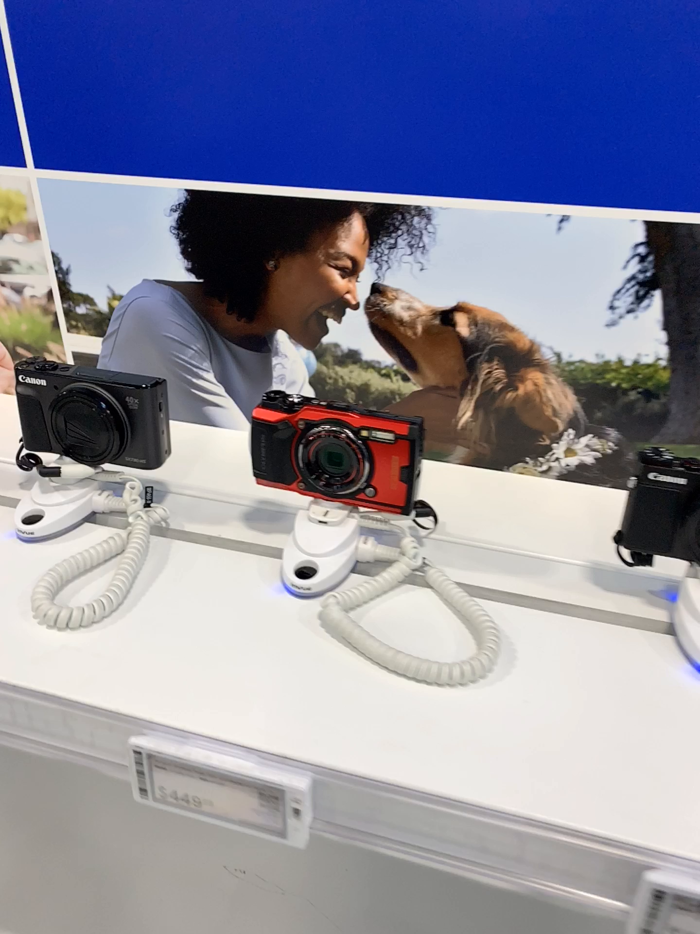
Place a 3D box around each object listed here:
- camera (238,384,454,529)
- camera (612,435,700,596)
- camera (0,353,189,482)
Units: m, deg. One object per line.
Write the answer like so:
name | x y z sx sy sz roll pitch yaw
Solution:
camera | -0.003 -0.009 0.476 0.130 0.060 0.050 10 28 14
camera | 0.221 0.026 0.431 0.110 0.060 0.050 10 28 14
camera | -0.183 -0.037 0.515 0.120 0.060 0.050 10 28 14
